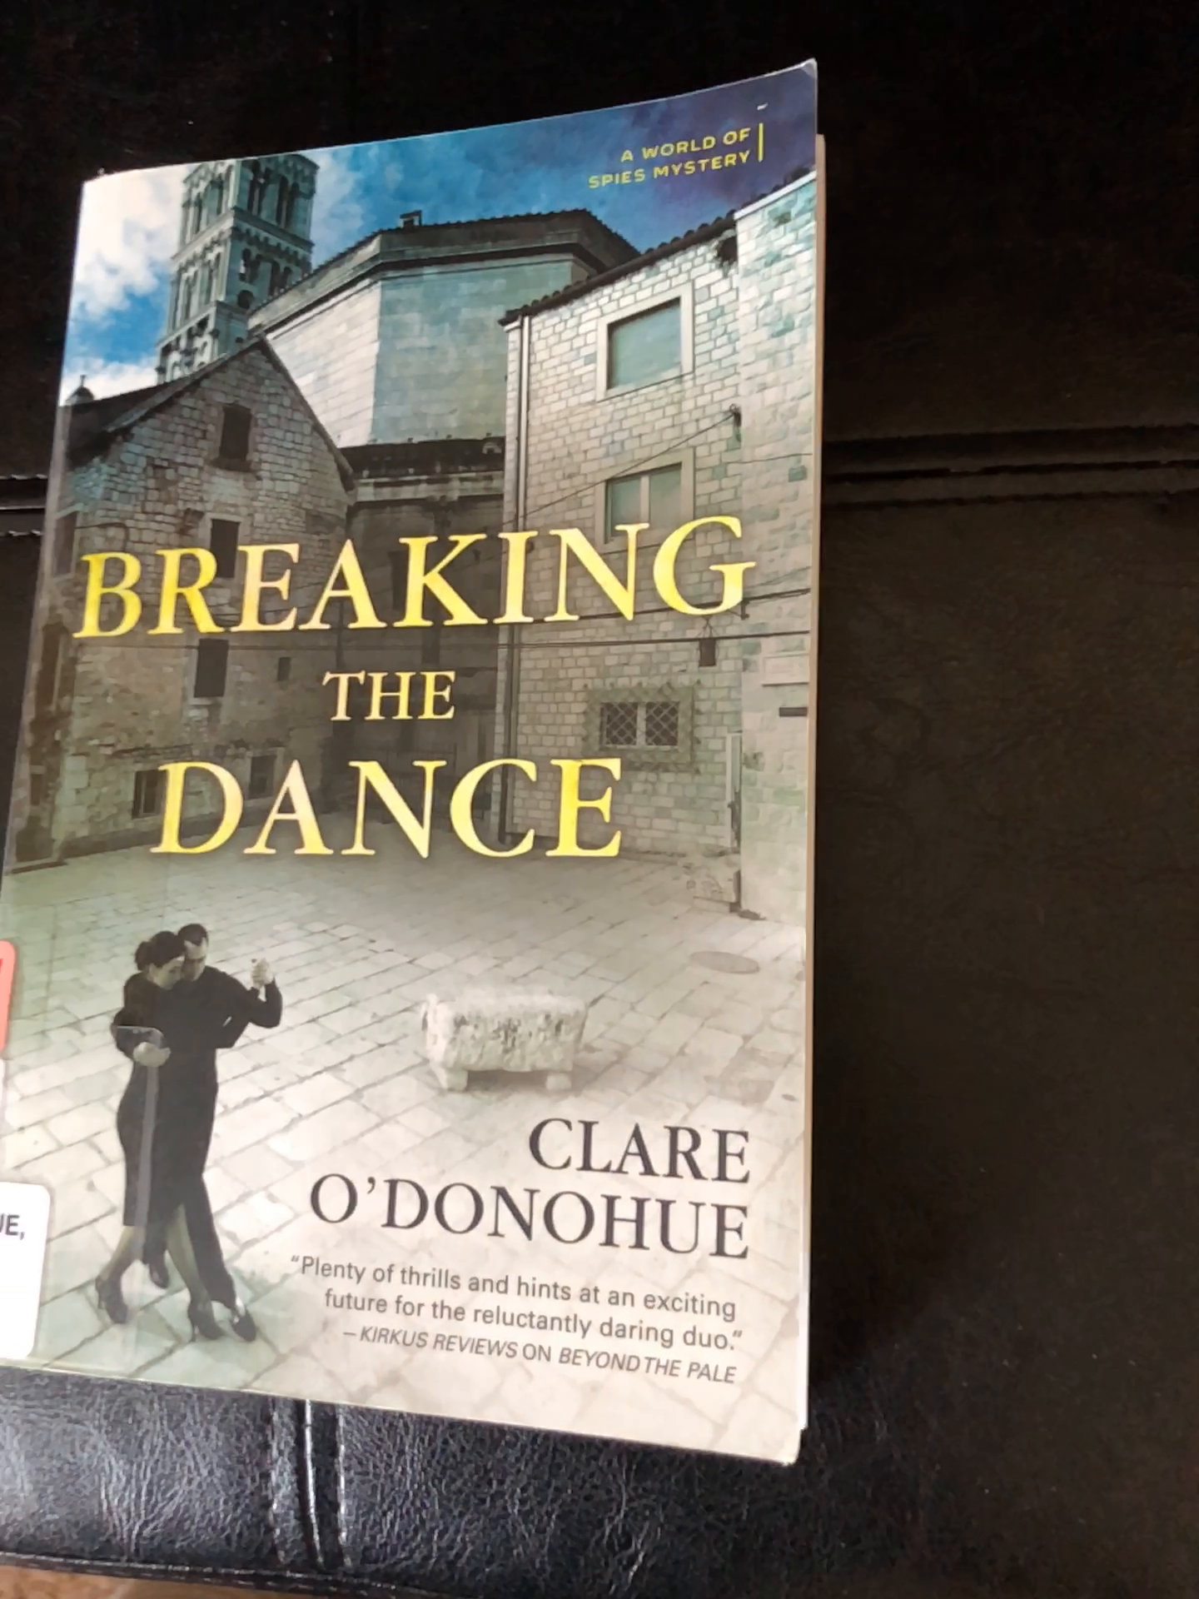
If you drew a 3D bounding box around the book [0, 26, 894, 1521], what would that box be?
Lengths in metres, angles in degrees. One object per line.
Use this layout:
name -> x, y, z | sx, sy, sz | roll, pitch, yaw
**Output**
book -> -0.027, -0.011, 0.215 | 0.140, 0.040, 0.210 | 1, 81, 9
